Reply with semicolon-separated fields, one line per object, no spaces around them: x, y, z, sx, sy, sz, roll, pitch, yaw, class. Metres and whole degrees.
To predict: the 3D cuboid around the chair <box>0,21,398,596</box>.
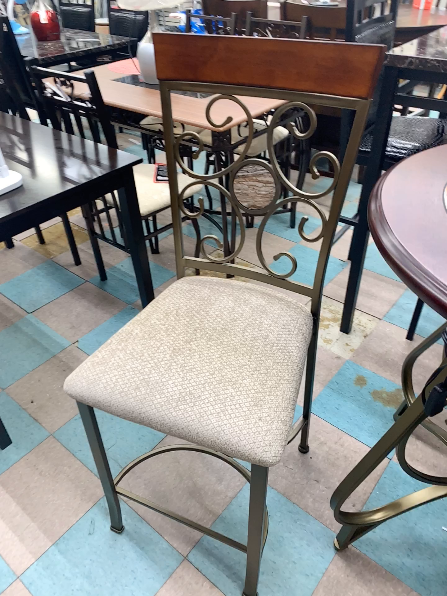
-0.039;0.060;1.006;0.511;1.074;0.563;16;41;20;chair
